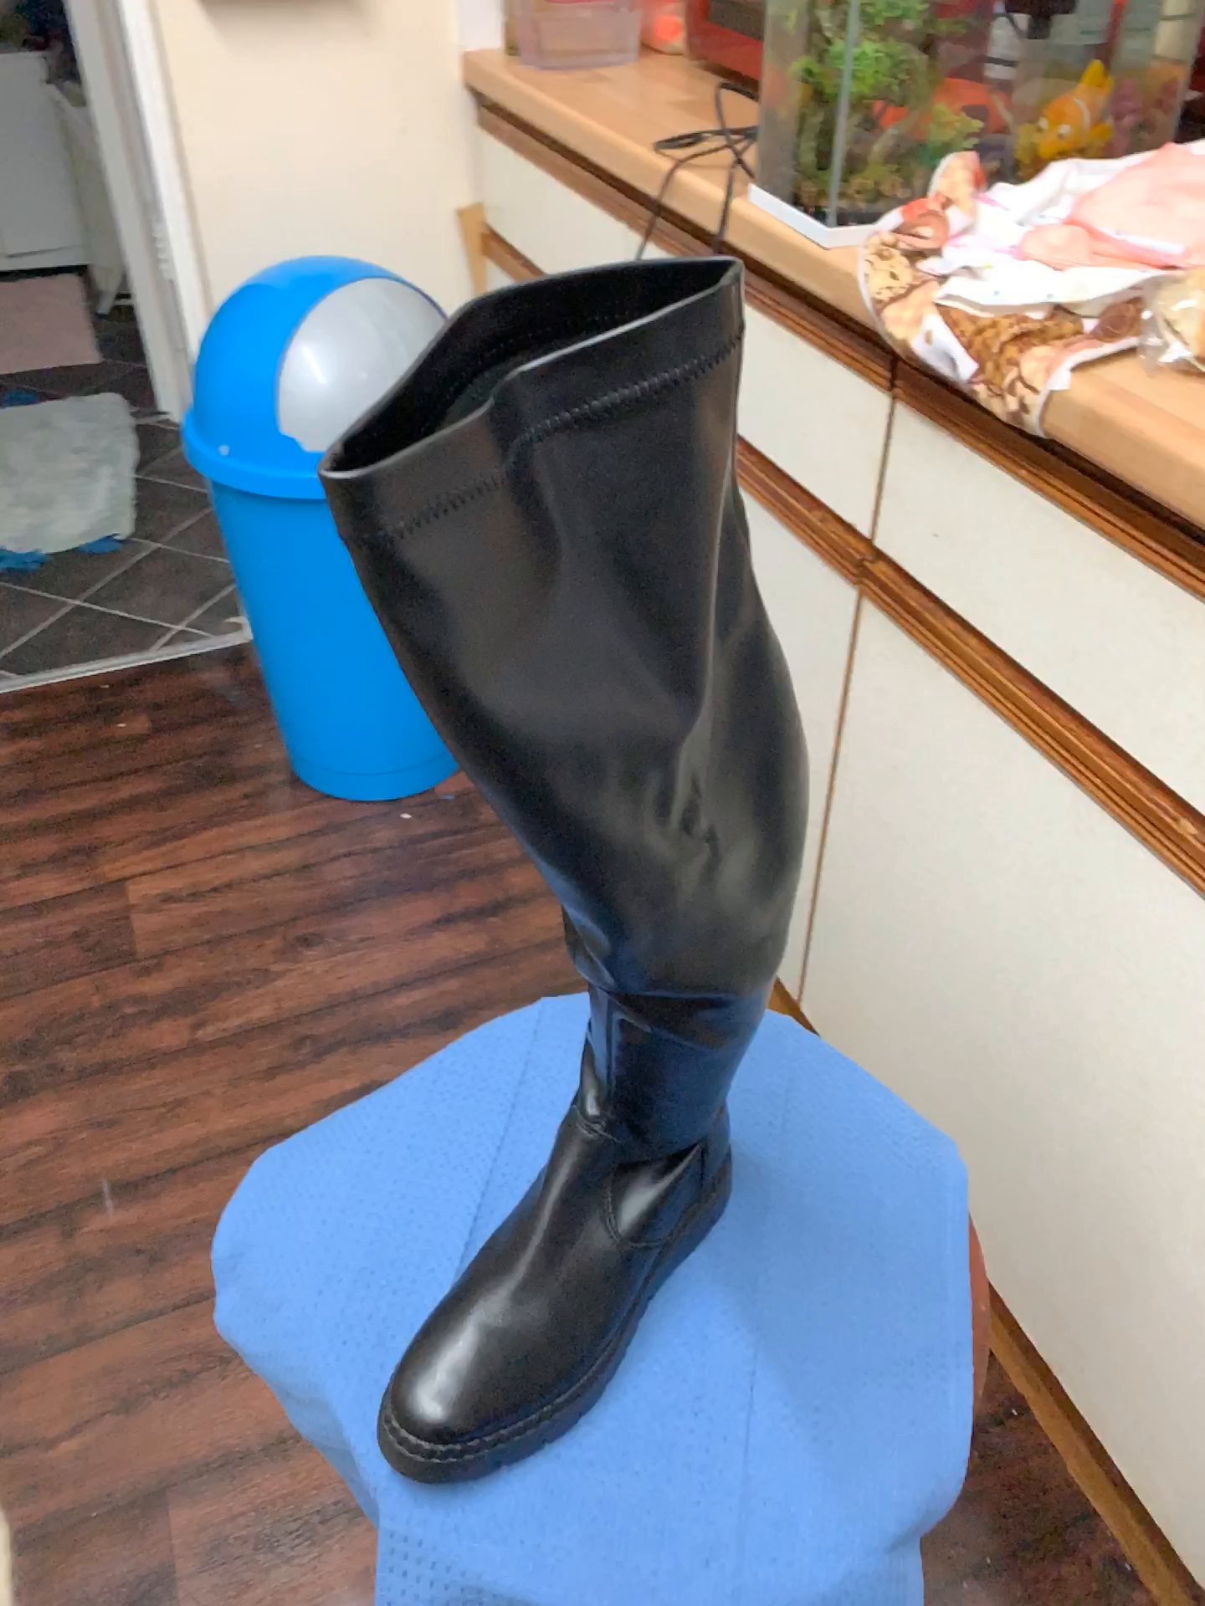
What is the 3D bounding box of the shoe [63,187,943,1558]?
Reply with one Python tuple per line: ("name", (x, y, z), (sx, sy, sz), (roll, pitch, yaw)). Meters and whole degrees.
("shoe", (-0.013, 0.059, 0.528), (0.107, 0.535, 0.272), (26, 44, 28))
